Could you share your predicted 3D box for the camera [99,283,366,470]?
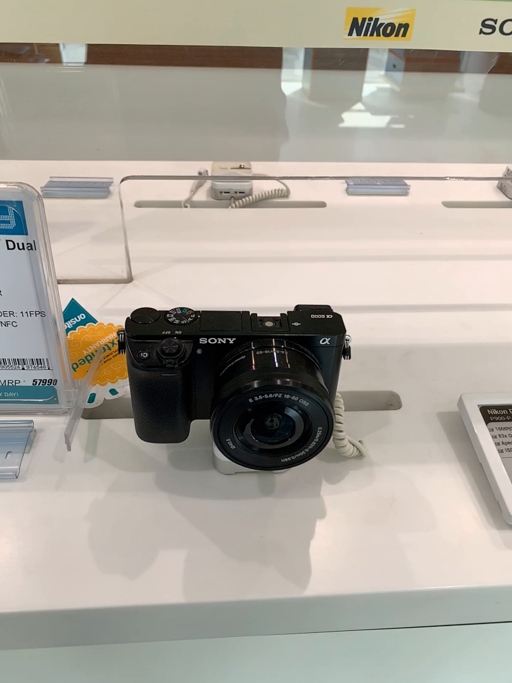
[{"bbox_3d":[-0.011,0.015,0.247,0.104,0.063,0.059,0,39,-3],"label":"camera"}]
